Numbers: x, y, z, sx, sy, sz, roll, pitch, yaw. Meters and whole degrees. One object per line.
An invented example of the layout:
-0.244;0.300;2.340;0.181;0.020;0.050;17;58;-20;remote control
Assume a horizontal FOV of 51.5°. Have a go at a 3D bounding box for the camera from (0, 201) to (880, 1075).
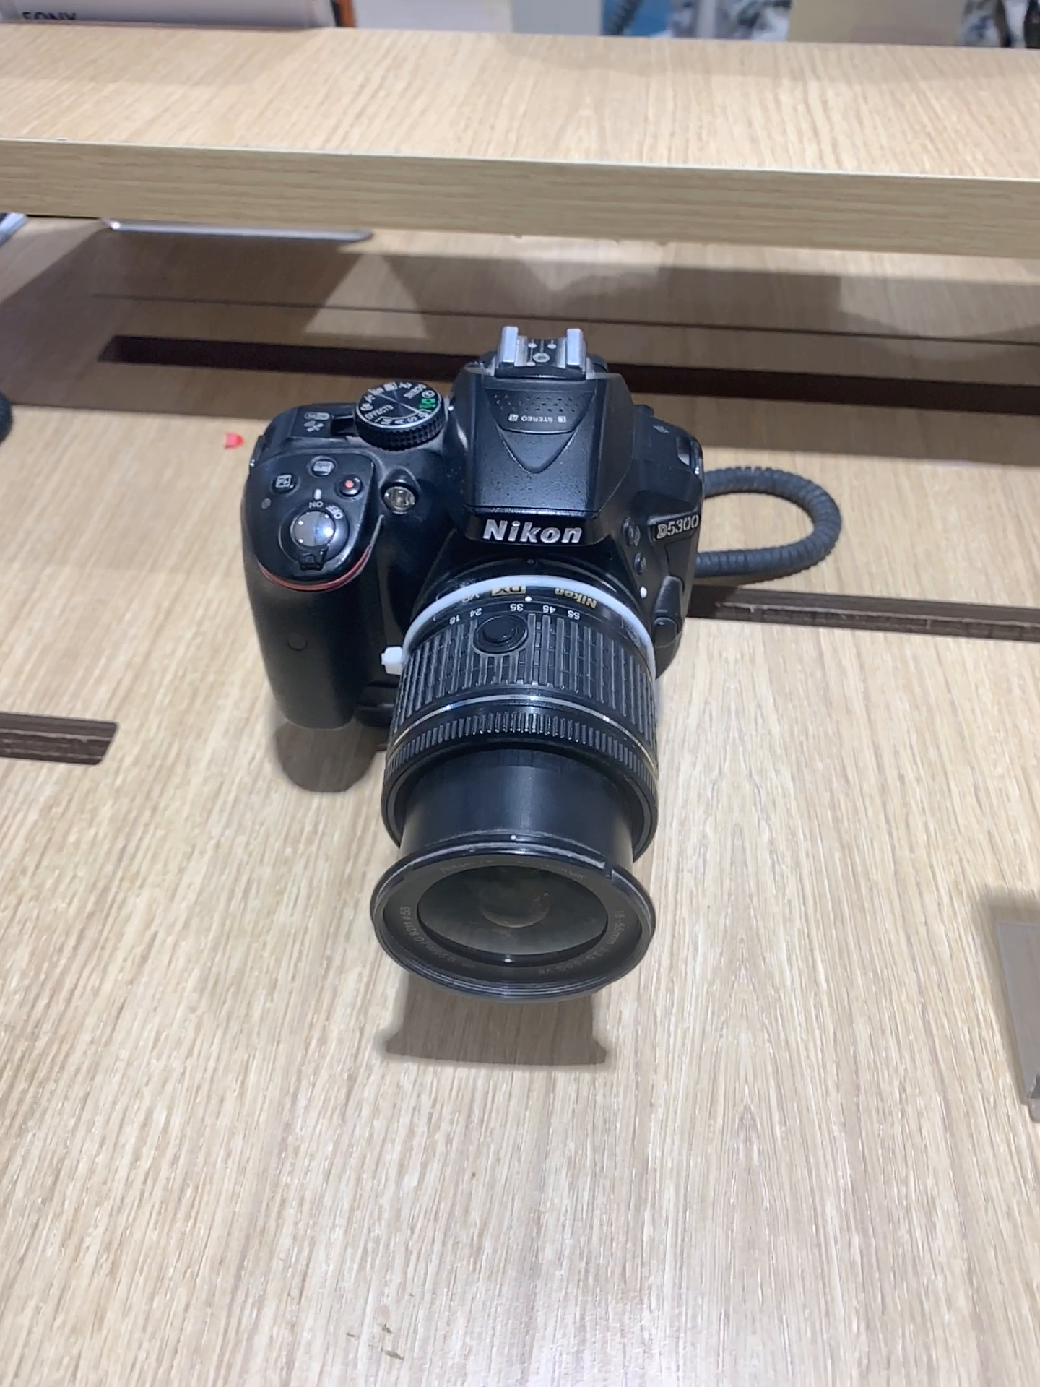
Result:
-0.016;-0.028;0.293;0.160;0.120;0.211;2;47;3;camera
